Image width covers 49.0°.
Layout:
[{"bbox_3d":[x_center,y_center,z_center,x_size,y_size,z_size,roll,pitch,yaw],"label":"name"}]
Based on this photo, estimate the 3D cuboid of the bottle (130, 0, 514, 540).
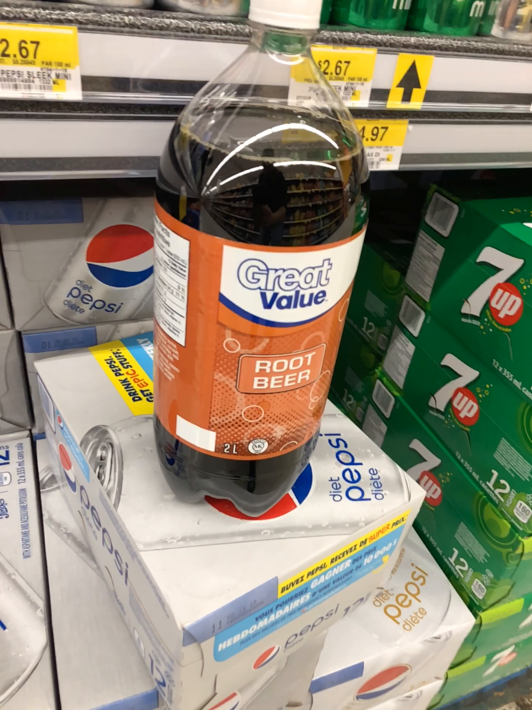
[{"bbox_3d":[-0.002,-0.044,0.317,0.120,0.268,0.121,6,37,-4],"label":"bottle"}]
